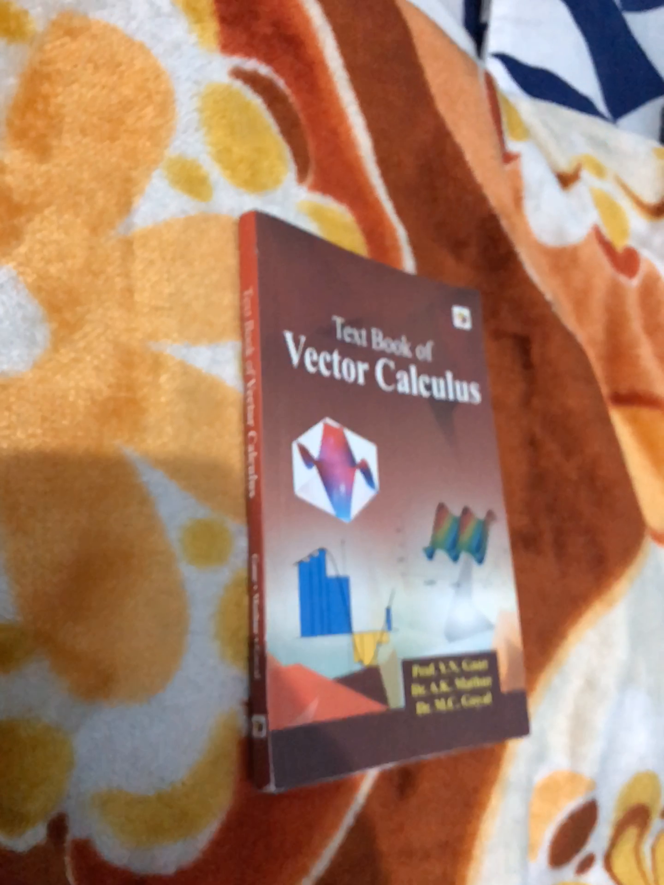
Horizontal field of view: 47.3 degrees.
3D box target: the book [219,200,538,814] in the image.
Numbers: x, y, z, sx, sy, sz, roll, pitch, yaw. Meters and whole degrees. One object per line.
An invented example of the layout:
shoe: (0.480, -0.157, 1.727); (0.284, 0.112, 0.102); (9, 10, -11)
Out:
book: (0.022, 0.022, 0.309); (0.141, 0.020, 0.210); (7, 73, -40)
